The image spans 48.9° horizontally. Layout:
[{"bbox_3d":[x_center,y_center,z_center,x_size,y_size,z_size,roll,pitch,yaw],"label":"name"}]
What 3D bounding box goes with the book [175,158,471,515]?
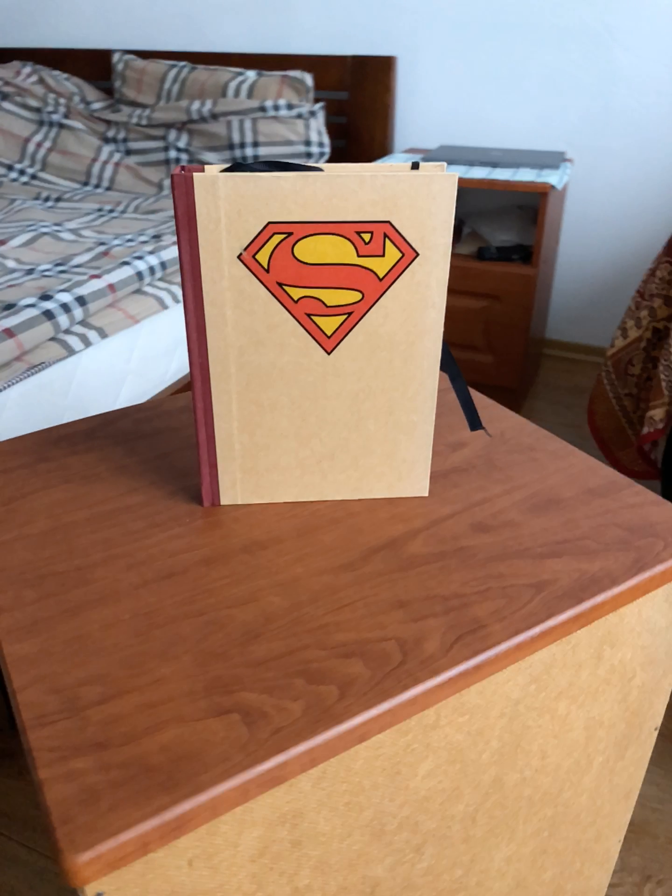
[{"bbox_3d":[-0.007,-0.060,0.450,0.154,0.212,0.032,-3,30,-5],"label":"book"}]
